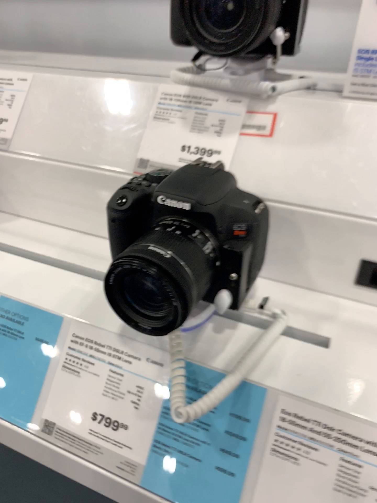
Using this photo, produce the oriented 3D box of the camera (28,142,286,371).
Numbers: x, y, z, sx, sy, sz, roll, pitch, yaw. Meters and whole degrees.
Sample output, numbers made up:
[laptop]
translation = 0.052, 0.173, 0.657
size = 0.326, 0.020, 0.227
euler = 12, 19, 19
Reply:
[camera]
translation = -0.015, -0.011, 0.307
size = 0.140, 0.099, 0.131
euler = 14, 33, 20
